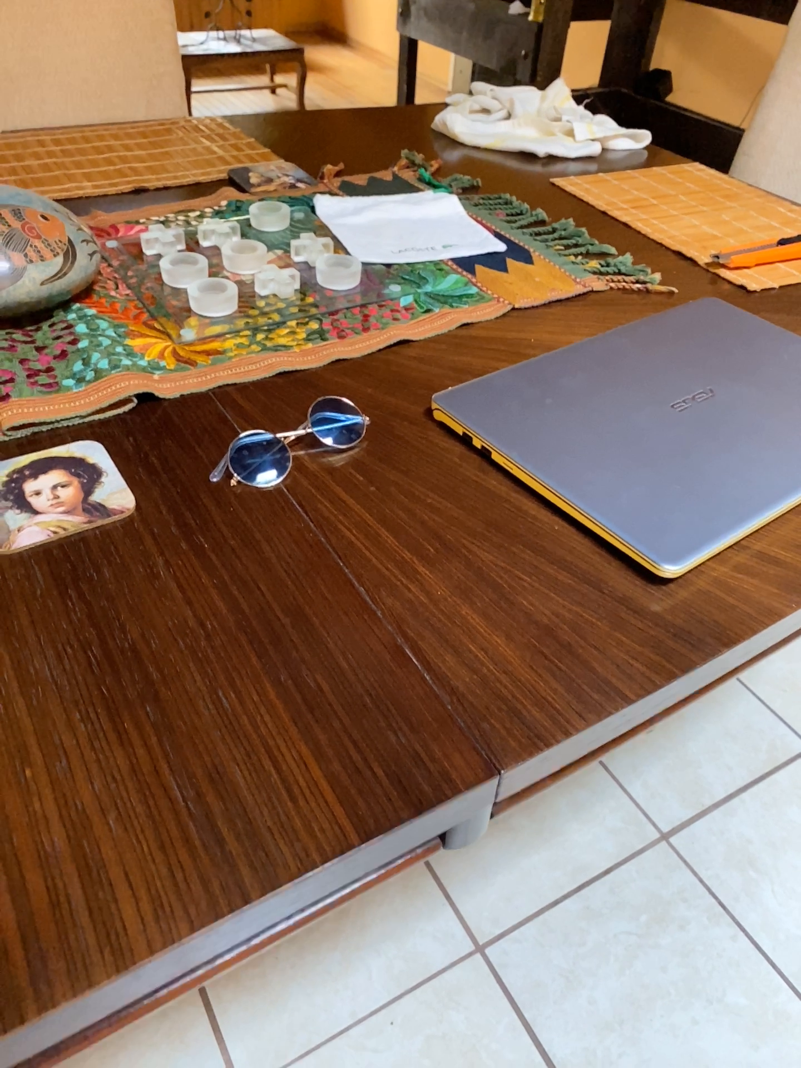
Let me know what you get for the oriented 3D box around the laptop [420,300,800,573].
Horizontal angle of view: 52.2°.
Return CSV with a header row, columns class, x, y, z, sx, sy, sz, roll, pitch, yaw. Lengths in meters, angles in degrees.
class,x,y,z,sx,sy,sz,roll,pitch,yaw
laptop,0.240,-0.114,0.719,0.384,0.001,0.246,-25,49,-30
